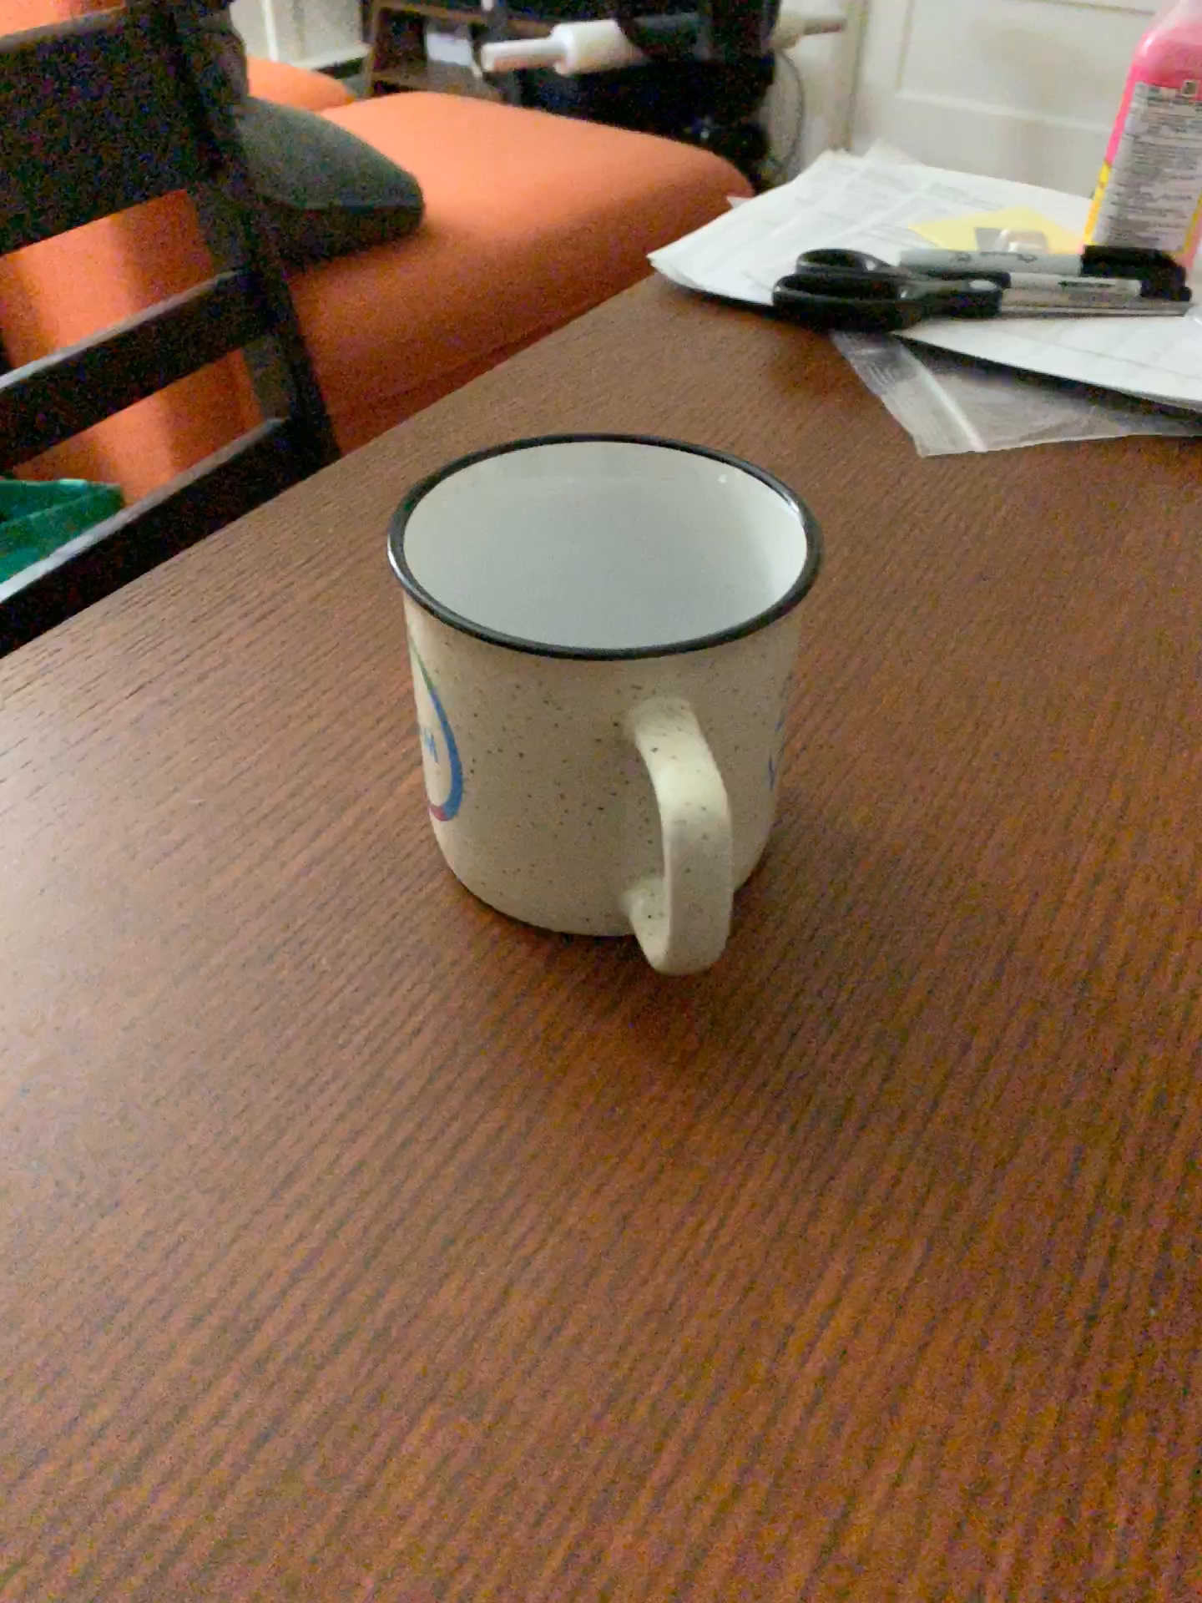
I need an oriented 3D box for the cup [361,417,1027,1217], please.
[{"bbox_3d":[0.006,-0.006,0.290,0.100,0.099,0.151,-8,42,-10],"label":"cup"}]
